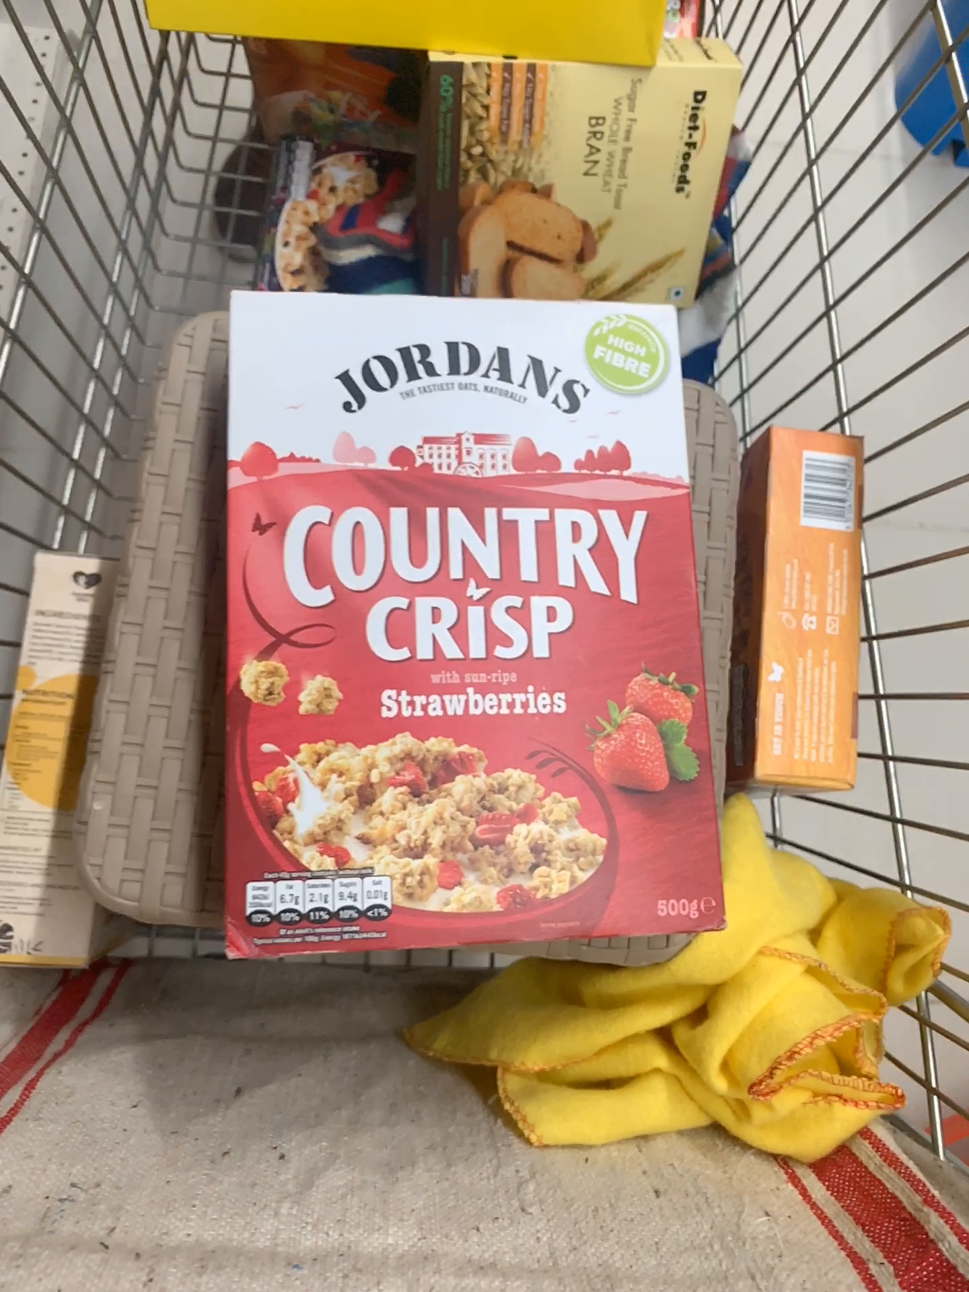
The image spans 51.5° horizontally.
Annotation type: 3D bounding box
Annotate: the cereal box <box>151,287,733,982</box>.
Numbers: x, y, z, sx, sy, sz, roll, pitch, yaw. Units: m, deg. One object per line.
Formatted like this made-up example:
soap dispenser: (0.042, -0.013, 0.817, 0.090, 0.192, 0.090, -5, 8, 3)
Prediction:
cereal box: (-0.019, -0.006, 0.369, 0.180, 0.070, 0.230, -1, 77, -7)
